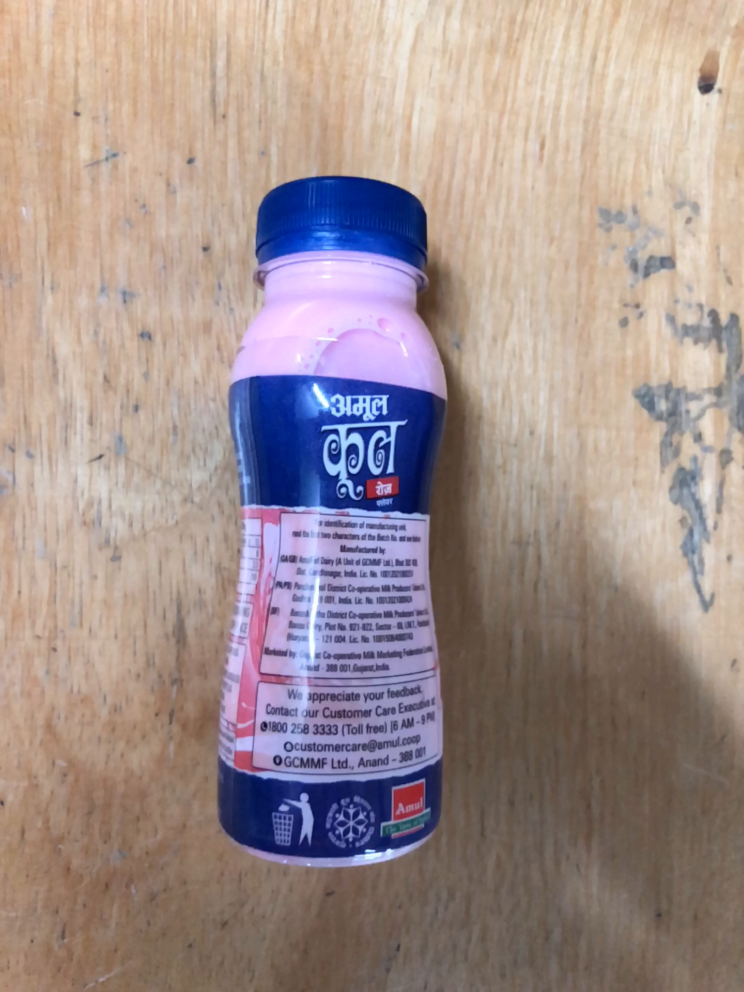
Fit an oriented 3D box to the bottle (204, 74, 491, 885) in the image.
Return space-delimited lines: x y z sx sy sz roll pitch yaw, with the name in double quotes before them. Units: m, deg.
"bottle" -0.007 -0.003 0.182 0.050 0.040 0.150 1 90 -19
